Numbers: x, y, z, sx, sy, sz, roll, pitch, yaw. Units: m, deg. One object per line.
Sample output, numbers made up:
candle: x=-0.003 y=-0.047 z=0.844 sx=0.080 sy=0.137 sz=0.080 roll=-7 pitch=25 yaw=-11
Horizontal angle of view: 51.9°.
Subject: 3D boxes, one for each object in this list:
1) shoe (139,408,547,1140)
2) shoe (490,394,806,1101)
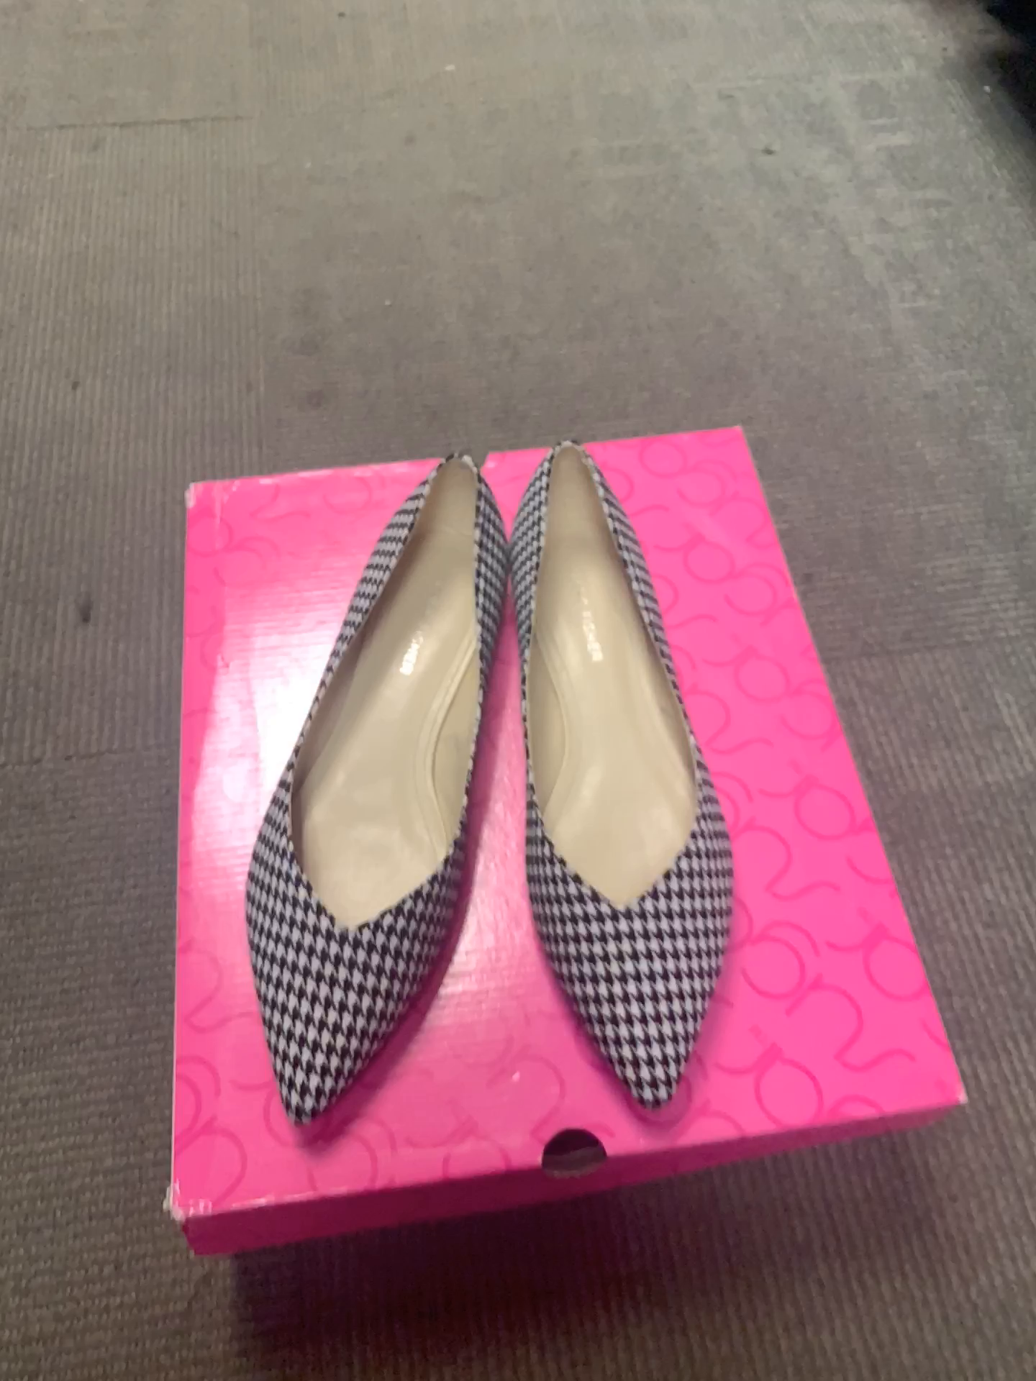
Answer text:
shoe: x=-0.051 y=0.017 z=0.406 sx=0.080 sy=0.060 sz=0.271 roll=9 pitch=60 yaw=5
shoe: x=0.039 y=0.008 z=0.426 sx=0.080 sy=0.060 sz=0.281 roll=-4 pitch=60 yaw=-2
